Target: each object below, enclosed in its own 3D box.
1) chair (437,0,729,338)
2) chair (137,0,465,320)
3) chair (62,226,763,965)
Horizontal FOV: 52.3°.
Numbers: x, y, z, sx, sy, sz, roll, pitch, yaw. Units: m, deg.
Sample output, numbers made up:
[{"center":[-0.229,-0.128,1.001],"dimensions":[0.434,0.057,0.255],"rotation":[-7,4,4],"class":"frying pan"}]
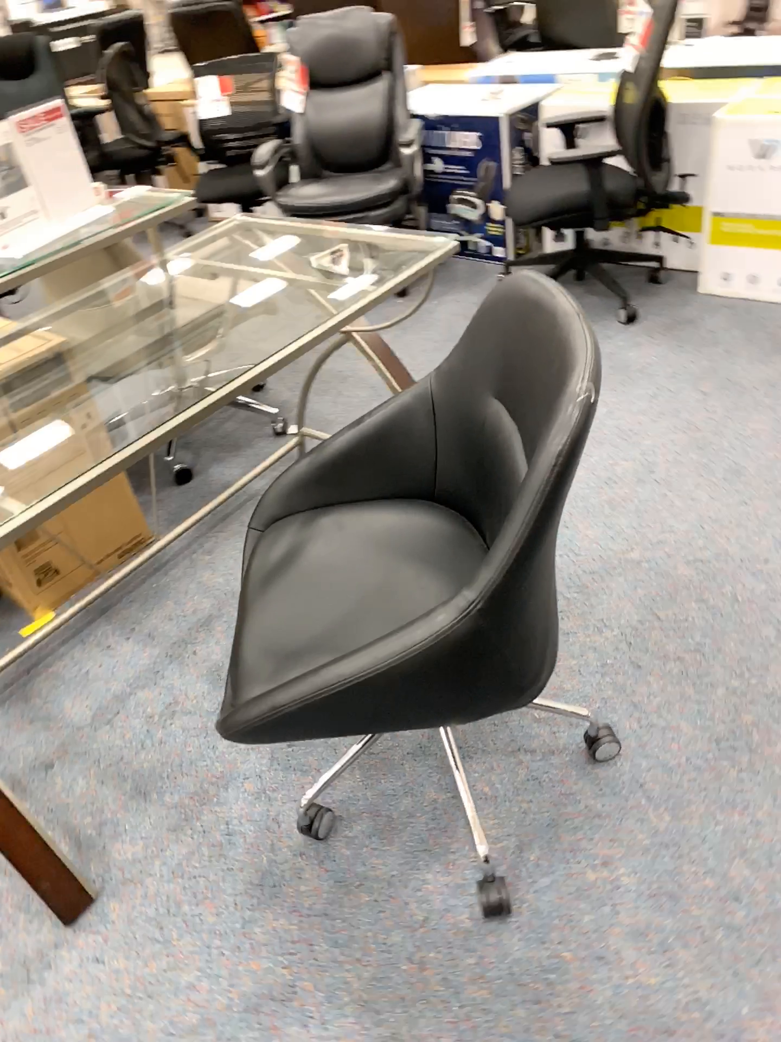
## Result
[{"center":[0.705,-1.334,2.924],"dimensions":[0.825,1.013,0.821],"rotation":[2,38,16],"class":"chair"},{"center":[-0.301,-1.586,3.472],"dimensions":[0.899,1.062,0.897],"rotation":[10,41,25],"class":"chair"},{"center":[0.054,0.117,1.251],"dimensions":[0.654,0.843,0.661],"rotation":[-9,37,2],"class":"chair"}]
